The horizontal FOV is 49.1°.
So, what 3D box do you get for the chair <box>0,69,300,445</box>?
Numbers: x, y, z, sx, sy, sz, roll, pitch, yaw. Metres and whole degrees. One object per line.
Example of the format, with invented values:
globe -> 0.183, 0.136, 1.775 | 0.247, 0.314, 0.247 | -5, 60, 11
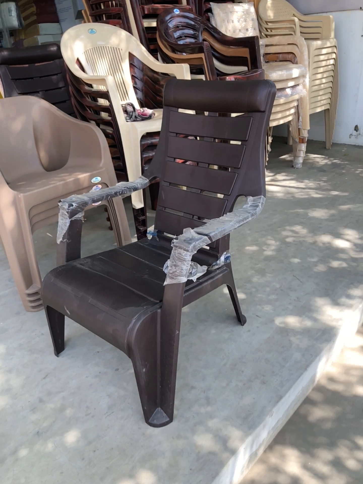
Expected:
chair -> -0.110, -0.065, 1.356 | 0.680, 0.875, 0.764 | 18, 35, 38
